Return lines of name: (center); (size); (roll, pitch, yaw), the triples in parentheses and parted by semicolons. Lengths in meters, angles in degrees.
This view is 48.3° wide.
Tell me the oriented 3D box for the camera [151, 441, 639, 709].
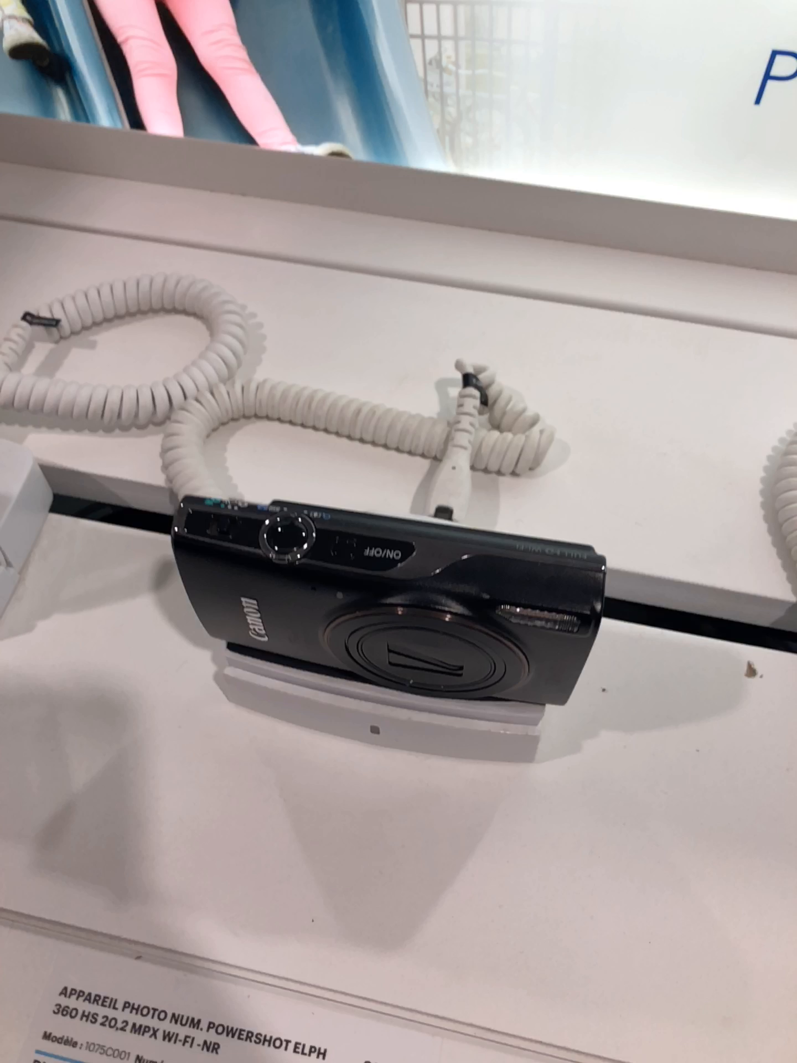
camera: (0.000, 0.013, 0.234); (0.113, 0.057, 0.026); (9, 55, 6)
